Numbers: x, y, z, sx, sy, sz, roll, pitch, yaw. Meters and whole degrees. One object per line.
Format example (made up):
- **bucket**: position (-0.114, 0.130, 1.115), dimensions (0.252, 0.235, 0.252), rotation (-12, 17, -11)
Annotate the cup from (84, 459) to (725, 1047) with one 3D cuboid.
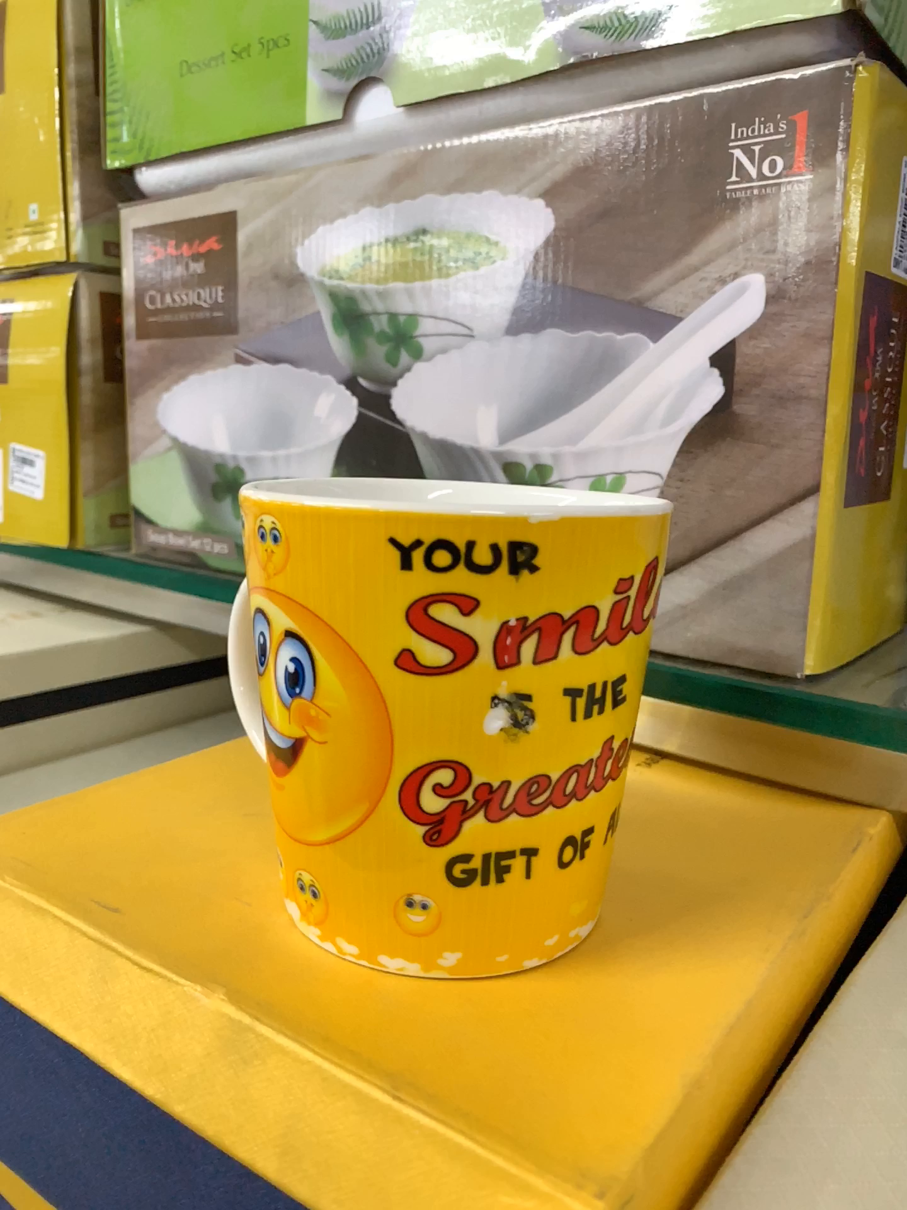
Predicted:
- **cup**: position (-0.016, 0.014, 0.204), dimensions (0.072, 0.081, 0.119), rotation (-10, 16, -44)
